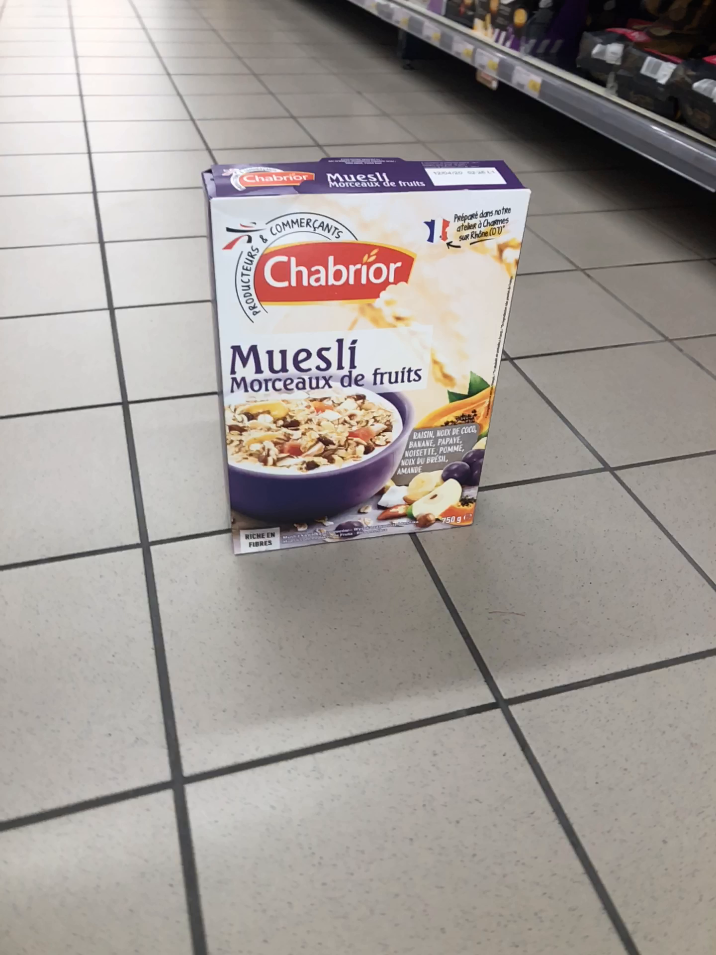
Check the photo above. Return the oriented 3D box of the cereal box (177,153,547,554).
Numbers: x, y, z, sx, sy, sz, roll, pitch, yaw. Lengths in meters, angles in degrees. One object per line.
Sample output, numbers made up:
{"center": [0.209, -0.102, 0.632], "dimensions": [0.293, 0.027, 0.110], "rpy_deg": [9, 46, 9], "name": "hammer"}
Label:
{"center": [-0.005, -0.079, 0.546], "dimensions": [0.210, 0.258, 0.070], "rpy_deg": [-6, 38, -13], "name": "cereal box"}
